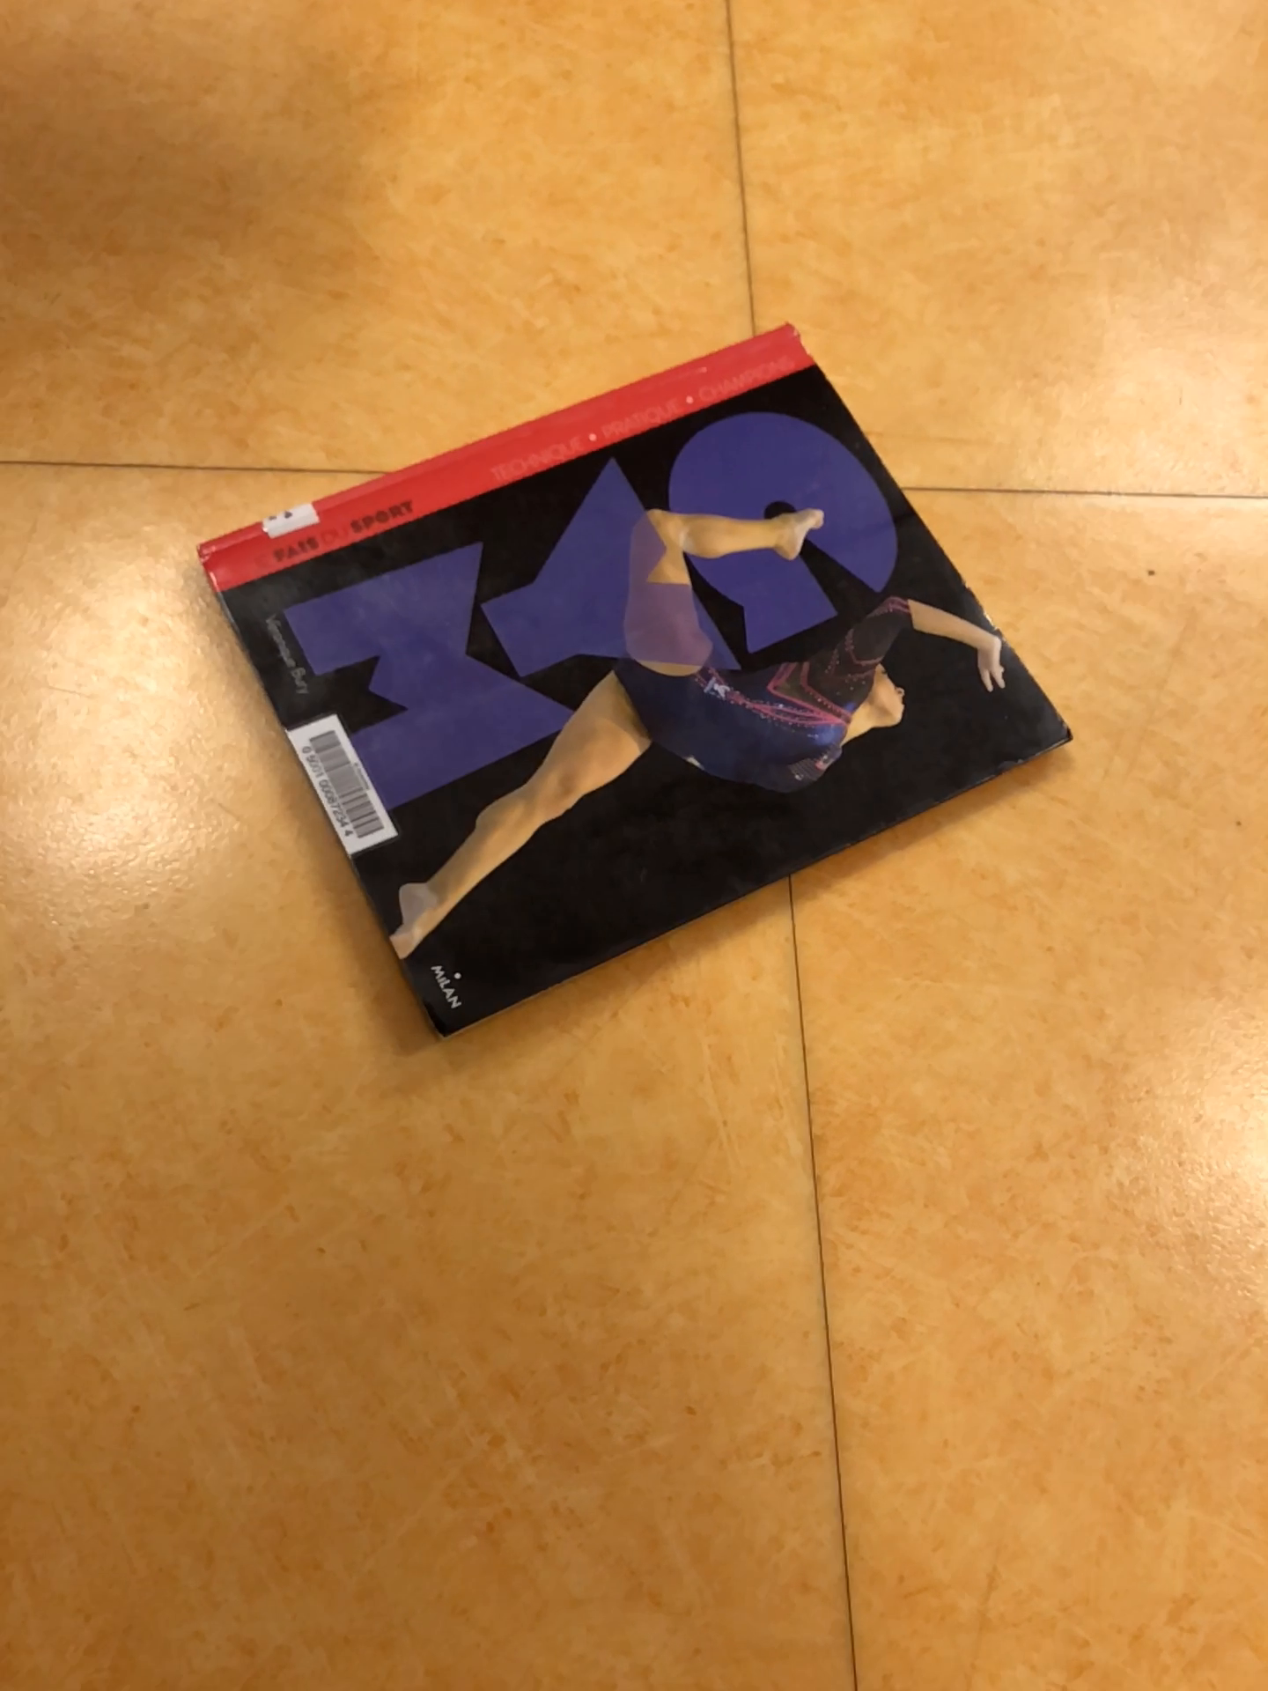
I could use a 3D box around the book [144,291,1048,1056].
[{"bbox_3d":[-0.013,-0.070,0.472,0.234,0.030,0.193,-25,73,-15],"label":"book"}]
